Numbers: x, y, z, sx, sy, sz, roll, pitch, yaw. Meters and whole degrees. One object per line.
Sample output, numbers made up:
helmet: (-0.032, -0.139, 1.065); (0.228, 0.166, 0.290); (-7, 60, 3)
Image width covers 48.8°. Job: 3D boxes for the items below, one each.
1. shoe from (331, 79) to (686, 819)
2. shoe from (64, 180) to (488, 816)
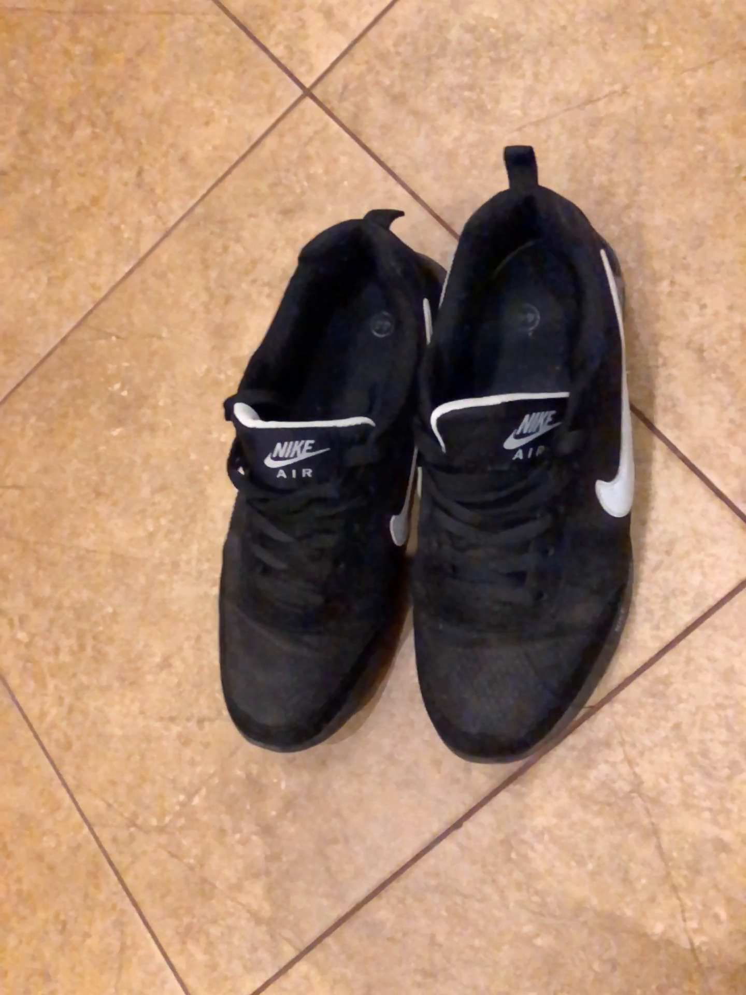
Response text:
shoe: (0.075, -0.023, 0.401); (0.120, 0.120, 0.300); (4, 82, 19)
shoe: (-0.037, -0.002, 0.424); (0.110, 0.120, 0.270); (13, 85, 19)
